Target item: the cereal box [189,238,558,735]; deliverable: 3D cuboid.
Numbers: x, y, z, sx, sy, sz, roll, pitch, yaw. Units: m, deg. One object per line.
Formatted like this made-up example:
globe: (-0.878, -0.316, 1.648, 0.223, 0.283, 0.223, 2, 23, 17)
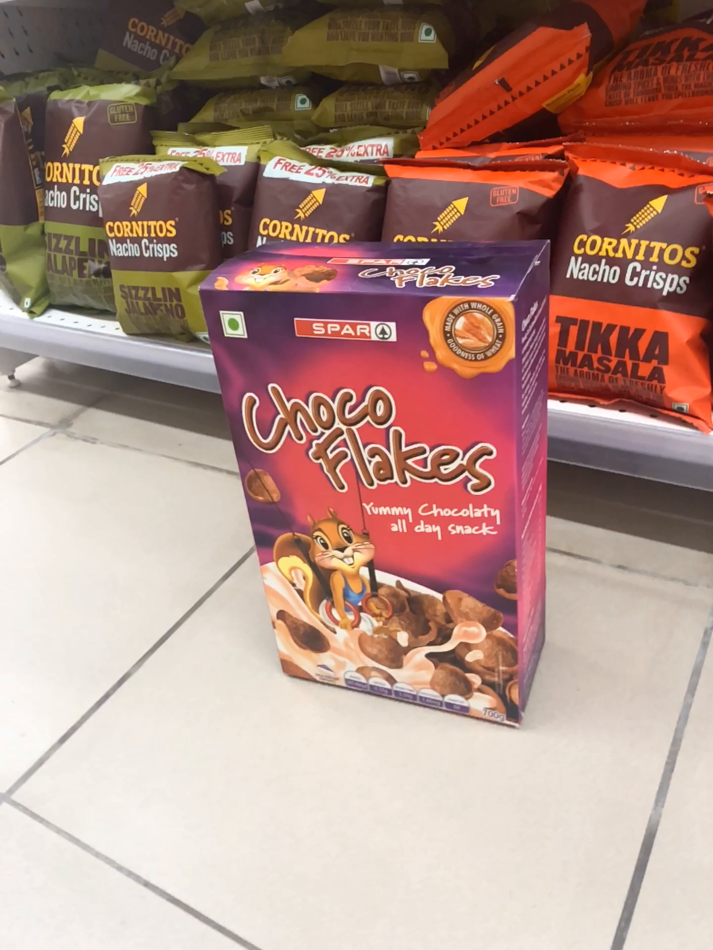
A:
cereal box: (0.030, 0.016, 0.558, 0.200, 0.339, 0.090, 6, 36, 22)
